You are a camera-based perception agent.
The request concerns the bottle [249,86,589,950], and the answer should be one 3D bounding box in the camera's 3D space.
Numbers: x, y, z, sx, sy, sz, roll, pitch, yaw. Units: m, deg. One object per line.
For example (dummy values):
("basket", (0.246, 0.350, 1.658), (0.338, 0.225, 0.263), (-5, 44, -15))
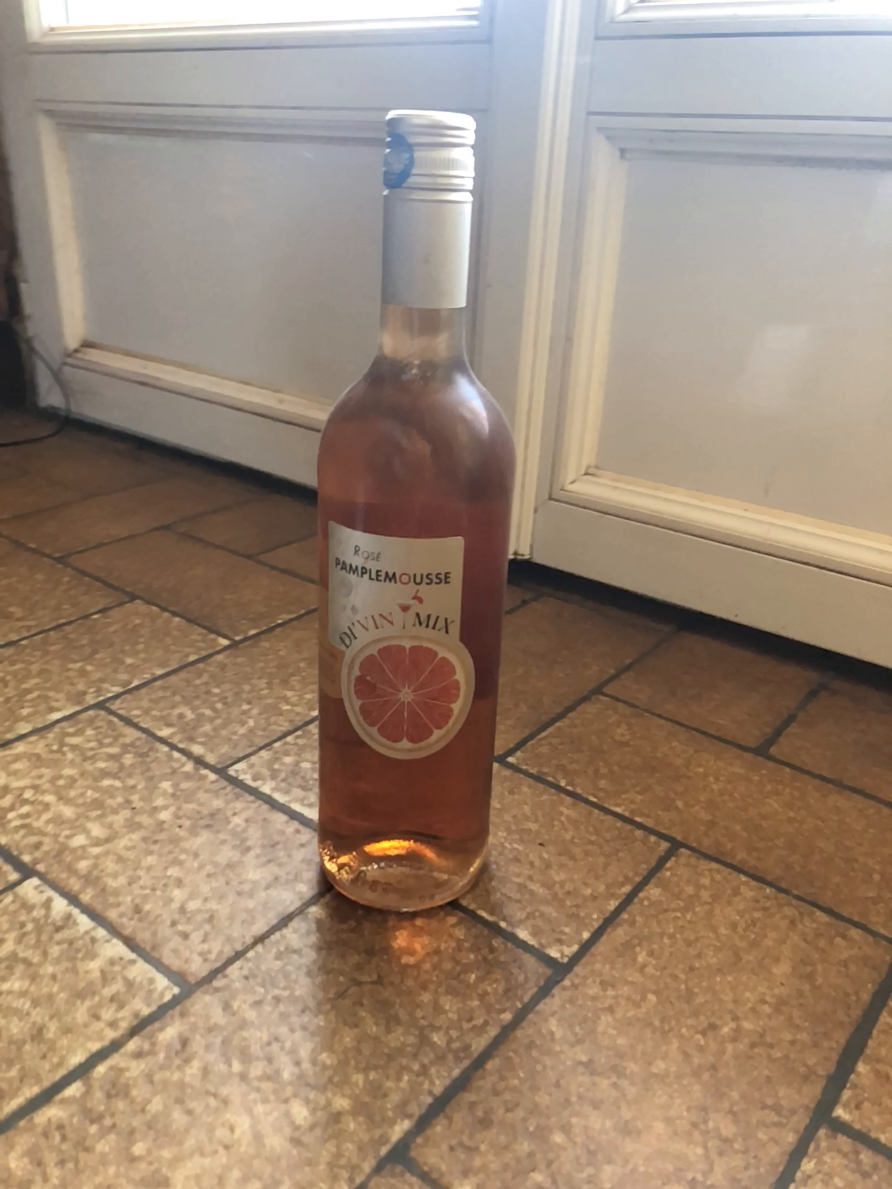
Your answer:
("bottle", (-0.012, -0.021, 0.361), (0.080, 0.288, 0.081), (3, 23, -1))
